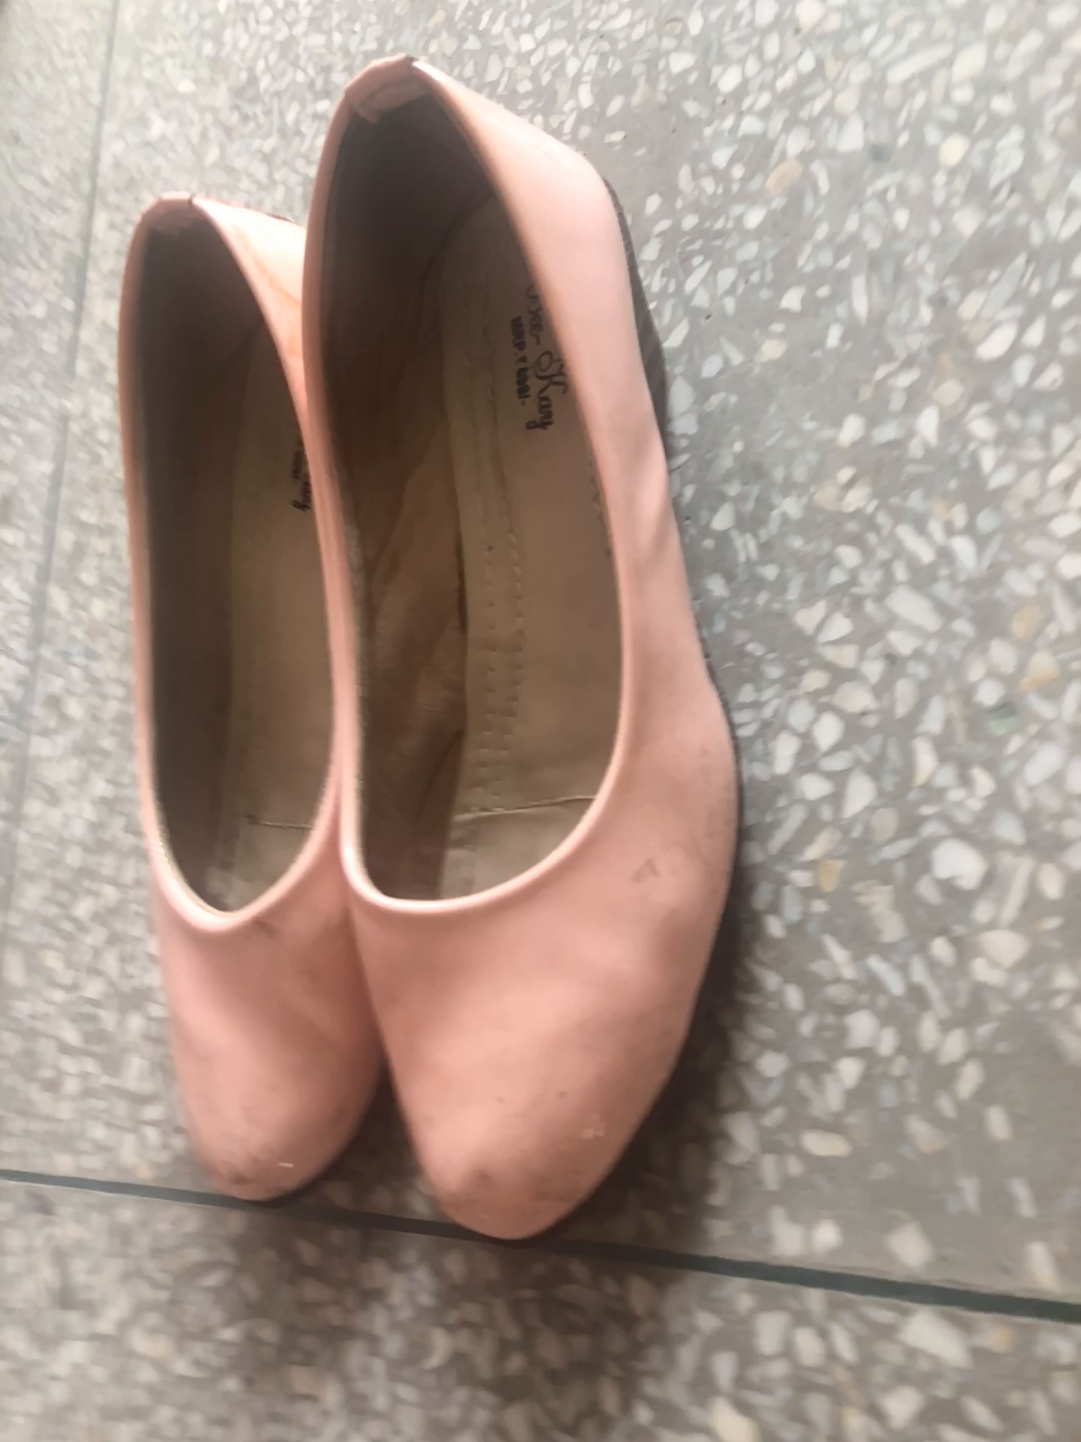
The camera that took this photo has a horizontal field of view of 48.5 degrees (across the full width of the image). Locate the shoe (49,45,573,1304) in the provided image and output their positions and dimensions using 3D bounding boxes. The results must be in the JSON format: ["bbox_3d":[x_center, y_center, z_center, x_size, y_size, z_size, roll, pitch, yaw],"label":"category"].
[{"bbox_3d":[-0.058,-0.009,0.301,0.090,0.070,0.260,-6,87,35],"label":"shoe"}]

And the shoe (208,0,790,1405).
[{"bbox_3d":[-0.008,-0.017,0.255,0.090,0.070,0.260,-6,80,35],"label":"shoe"}]
